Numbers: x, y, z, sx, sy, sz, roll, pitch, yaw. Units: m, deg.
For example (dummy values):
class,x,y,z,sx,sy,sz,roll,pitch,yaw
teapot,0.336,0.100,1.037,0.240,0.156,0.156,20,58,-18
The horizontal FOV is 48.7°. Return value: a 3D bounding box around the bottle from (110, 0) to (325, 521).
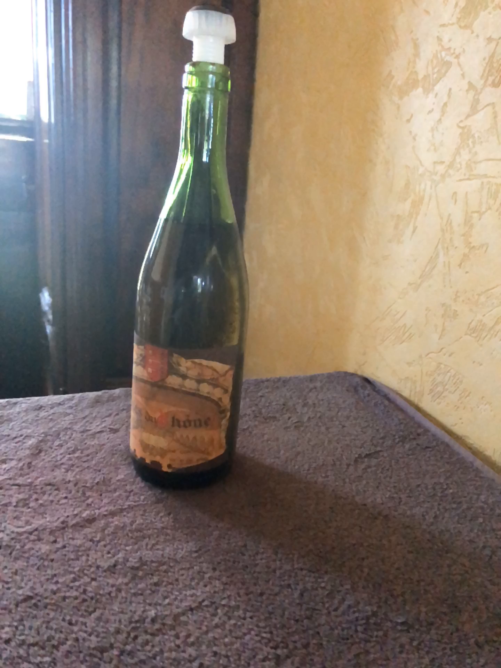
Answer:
class,x,y,z,sx,sy,sz,roll,pitch,yaw
bottle,-0.030,-0.045,0.378,0.090,0.309,0.090,4,16,-1
